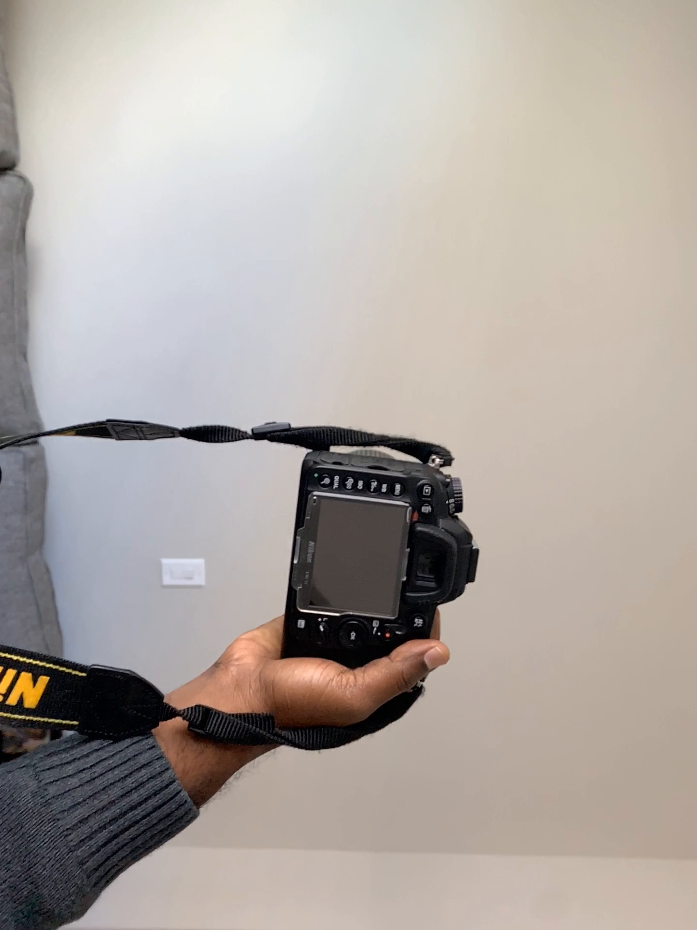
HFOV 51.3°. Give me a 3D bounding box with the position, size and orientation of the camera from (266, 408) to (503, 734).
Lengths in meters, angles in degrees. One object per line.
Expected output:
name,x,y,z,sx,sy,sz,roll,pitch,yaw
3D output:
camera,0.017,0.059,0.503,0.170,0.114,0.160,-97,-165,-78
